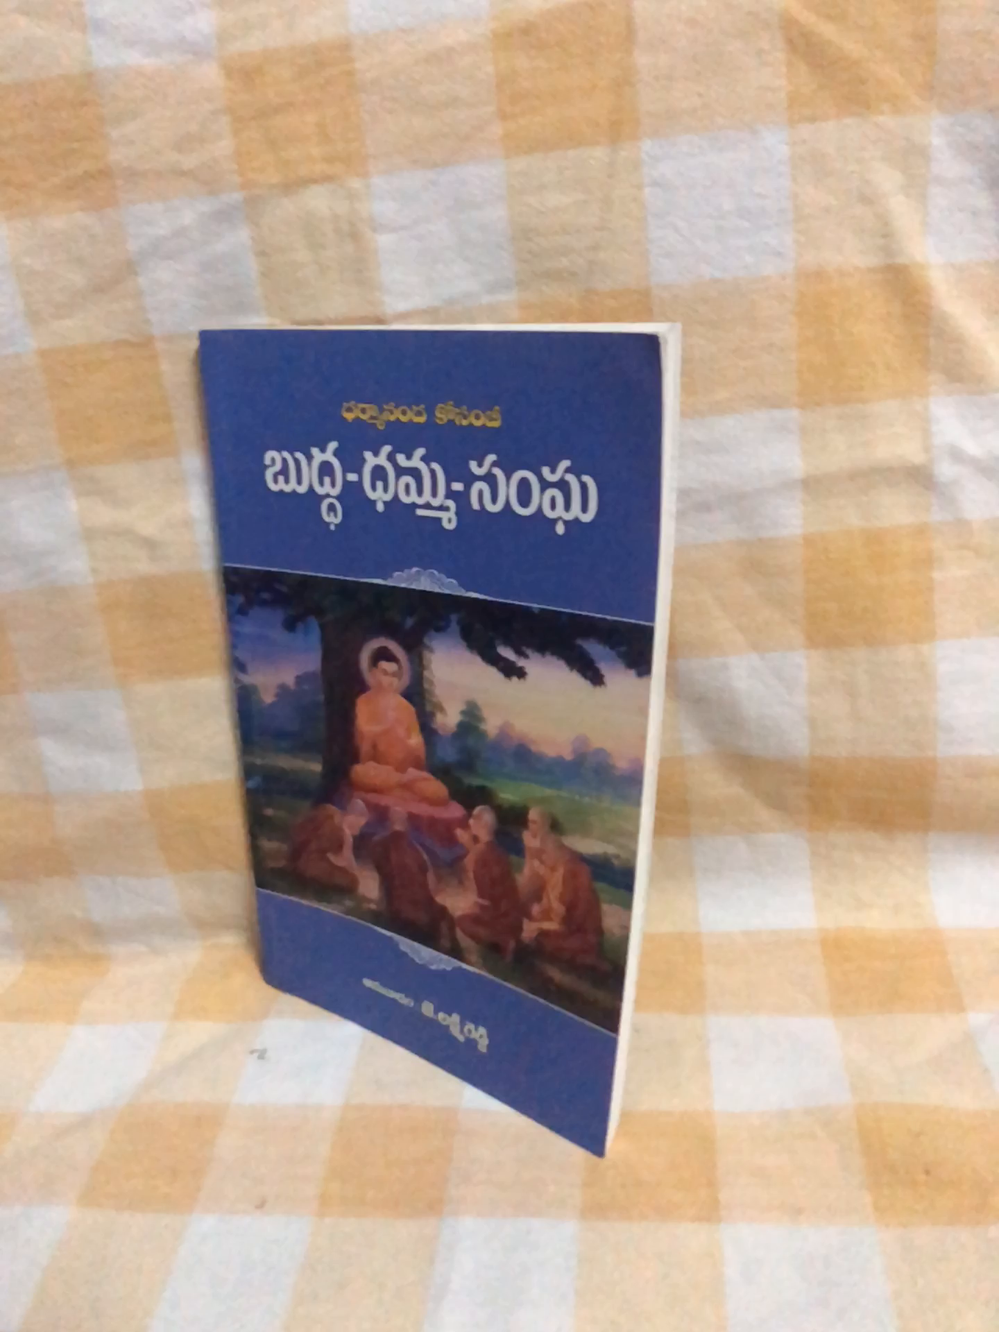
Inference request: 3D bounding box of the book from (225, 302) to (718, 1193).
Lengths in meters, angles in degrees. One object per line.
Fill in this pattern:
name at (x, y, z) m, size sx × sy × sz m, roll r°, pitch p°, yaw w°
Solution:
book at (-0.019, 0.015, 0.313) m, size 0.150 × 0.219 × 0.020 m, roll 12°, pitch 17°, yaw 37°
